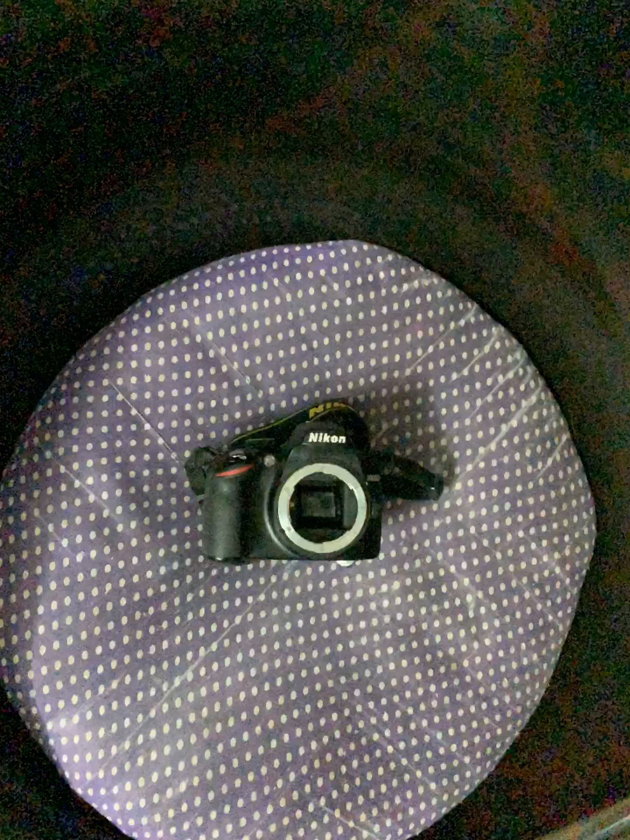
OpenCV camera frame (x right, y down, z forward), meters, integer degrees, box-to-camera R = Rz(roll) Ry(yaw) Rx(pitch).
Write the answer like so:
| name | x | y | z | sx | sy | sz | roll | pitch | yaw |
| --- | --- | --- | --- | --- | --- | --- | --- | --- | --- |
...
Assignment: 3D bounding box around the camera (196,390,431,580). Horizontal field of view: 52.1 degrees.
| name | x | y | z | sx | sy | sz | roll | pitch | yaw |
| --- | --- | --- | --- | --- | --- | --- | --- | --- | --- |
| camera | -0.005 | 0.040 | 0.424 | 0.140 | 0.080 | 0.110 | 1 | 87 | -8 |
